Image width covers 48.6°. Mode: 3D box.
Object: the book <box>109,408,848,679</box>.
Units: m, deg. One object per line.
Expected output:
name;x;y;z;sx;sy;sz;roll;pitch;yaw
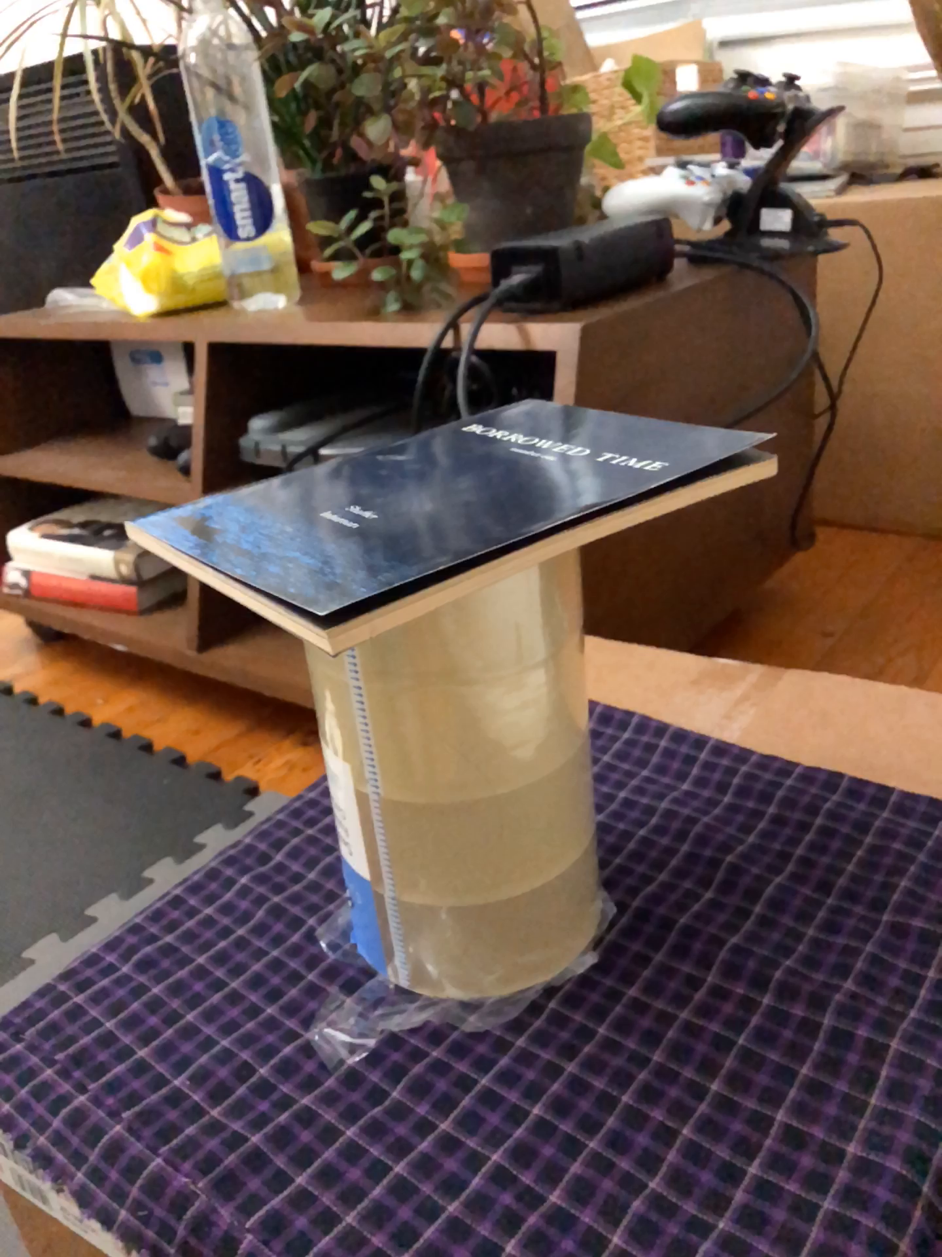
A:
book;0.005;-0.048;0.396;0.230;0.010;0.160;-21;29;-34
